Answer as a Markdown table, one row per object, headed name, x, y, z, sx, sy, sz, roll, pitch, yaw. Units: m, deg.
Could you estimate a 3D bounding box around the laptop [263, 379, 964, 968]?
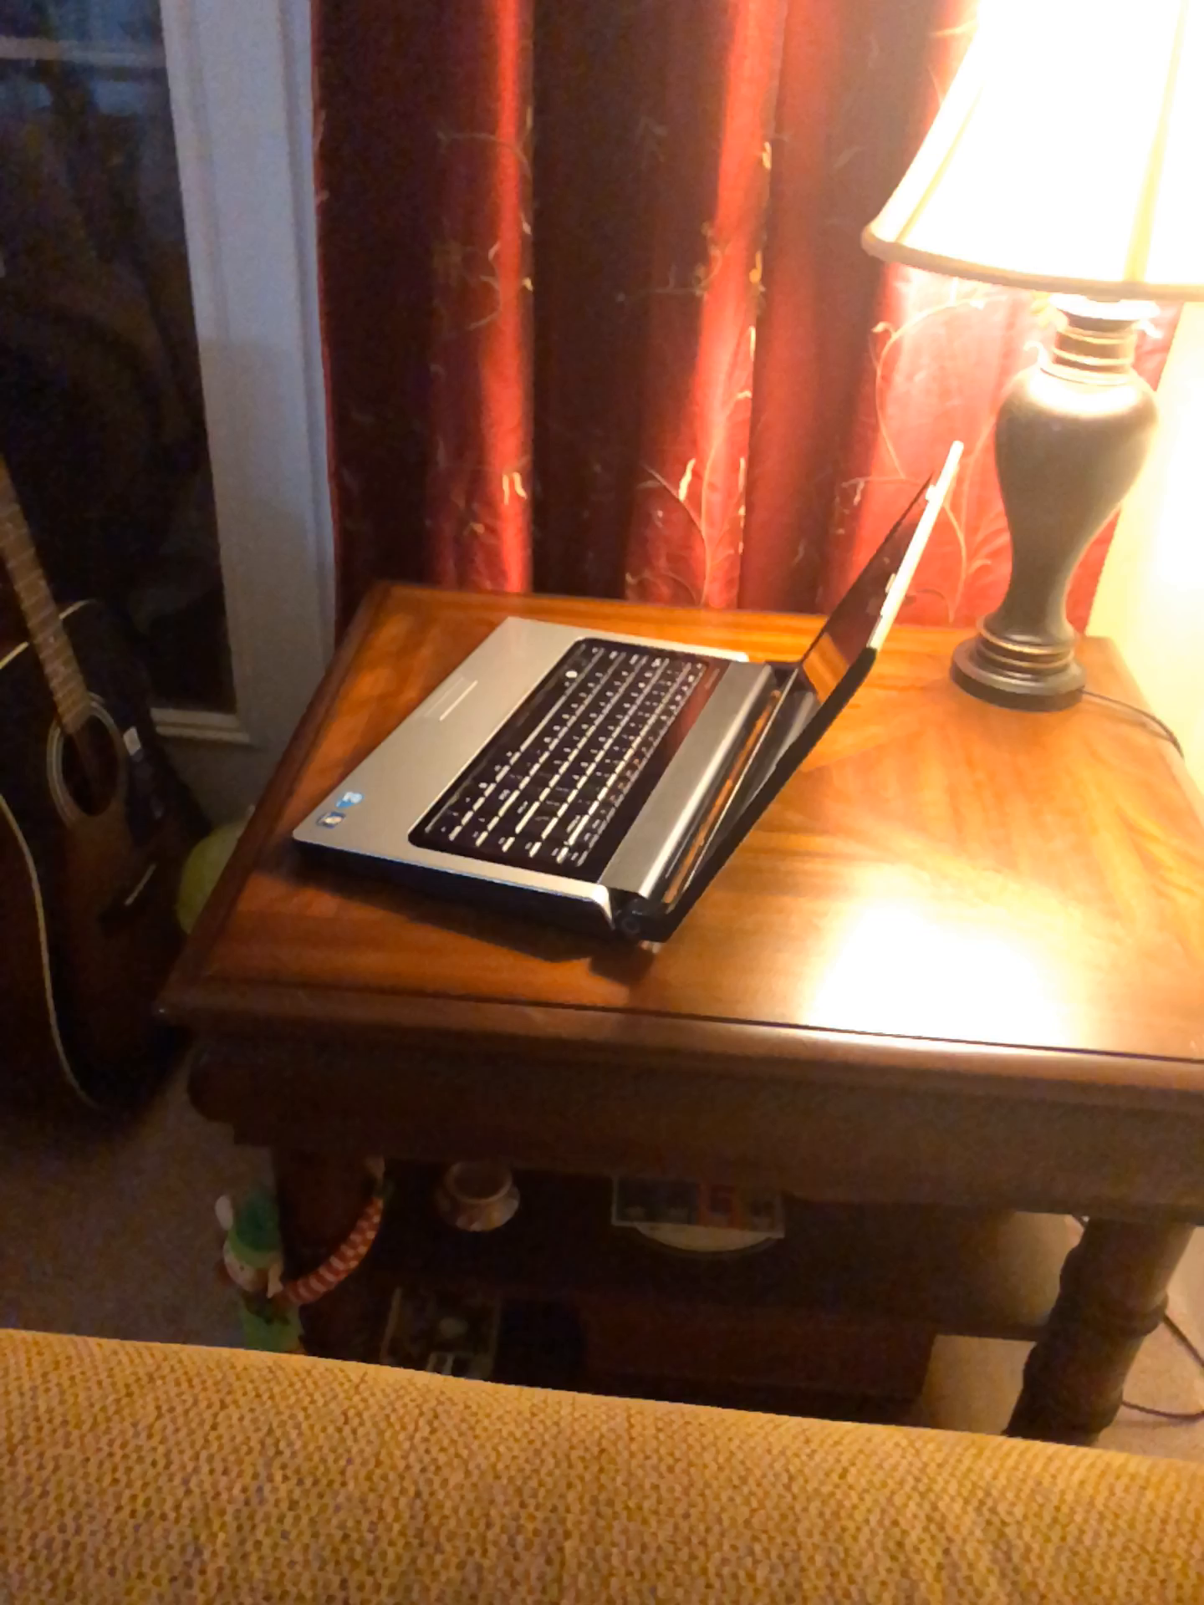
| name | x | y | z | sx | sy | sz | roll | pitch | yaw |
| --- | --- | --- | --- | --- | --- | --- | --- | --- | --- |
| laptop | 0.030 | -0.118 | 0.907 | 0.350 | 0.204 | 0.364 | 13 | 34 | 14 |
